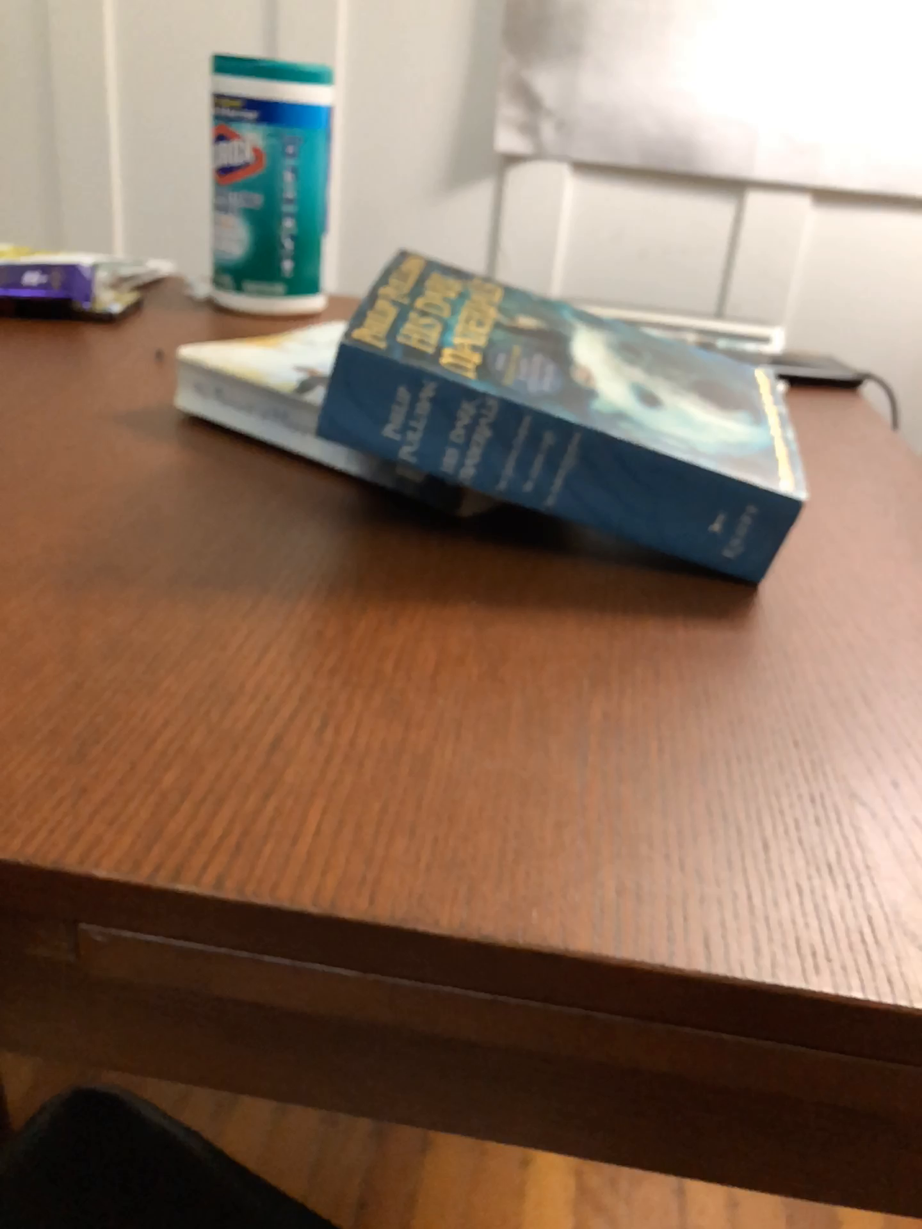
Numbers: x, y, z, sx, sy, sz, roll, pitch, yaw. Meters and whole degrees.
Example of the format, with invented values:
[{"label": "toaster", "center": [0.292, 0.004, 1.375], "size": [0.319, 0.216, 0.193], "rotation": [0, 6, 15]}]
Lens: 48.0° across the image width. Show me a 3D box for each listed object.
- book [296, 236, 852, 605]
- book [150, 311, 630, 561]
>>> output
[{"label": "book", "center": [0.056, -0.108, 0.533], "size": [0.240, 0.060, 0.171], "rotation": [18, 30, -5]}, {"label": "book", "center": [-0.046, -0.123, 0.639], "size": [0.240, 0.040, 0.171], "rotation": [27, 39, 31]}]
